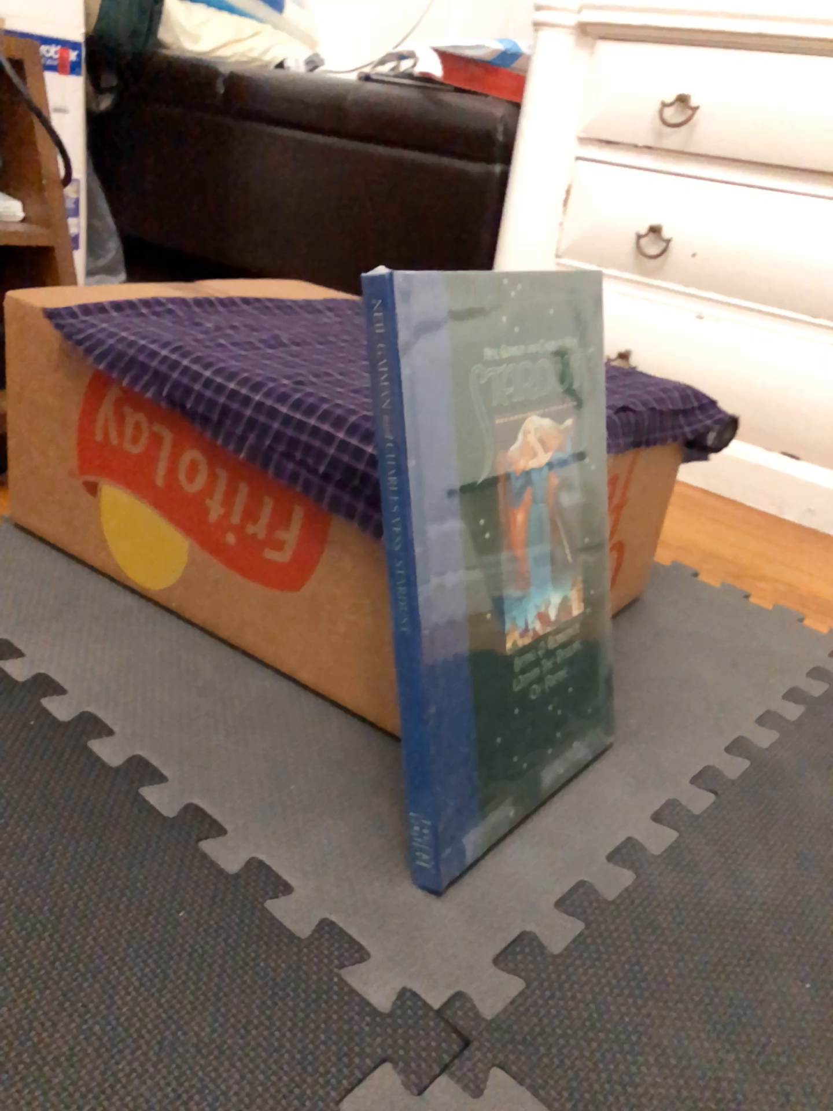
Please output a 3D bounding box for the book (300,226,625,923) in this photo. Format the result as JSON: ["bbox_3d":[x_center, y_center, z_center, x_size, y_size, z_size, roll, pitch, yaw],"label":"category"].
[{"bbox_3d":[0.045,-0.006,0.517,0.050,0.329,0.221,7,18,36],"label":"book"}]
